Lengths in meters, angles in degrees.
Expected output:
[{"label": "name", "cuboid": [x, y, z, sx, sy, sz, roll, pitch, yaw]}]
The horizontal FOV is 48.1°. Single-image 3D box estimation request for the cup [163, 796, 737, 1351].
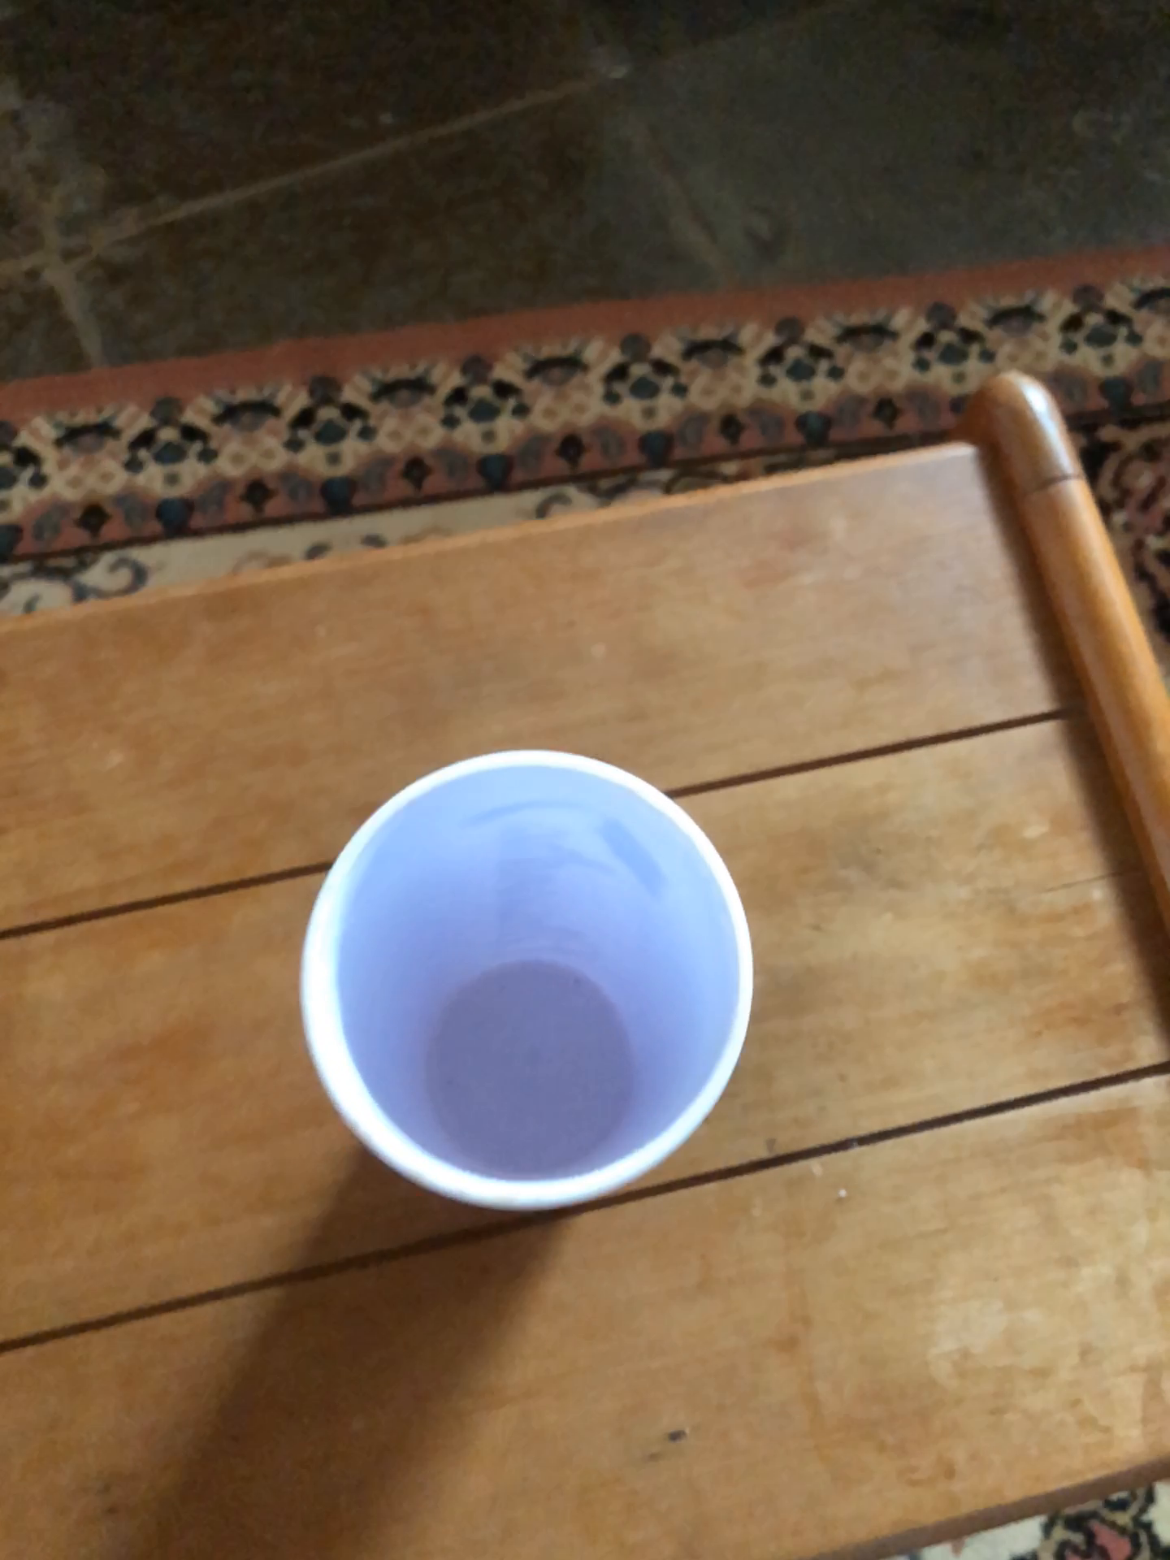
[{"label": "cup", "cuboid": [-0.020, 0.059, 0.247, 0.070, 0.160, 0.070, 1, 73, -2]}]
